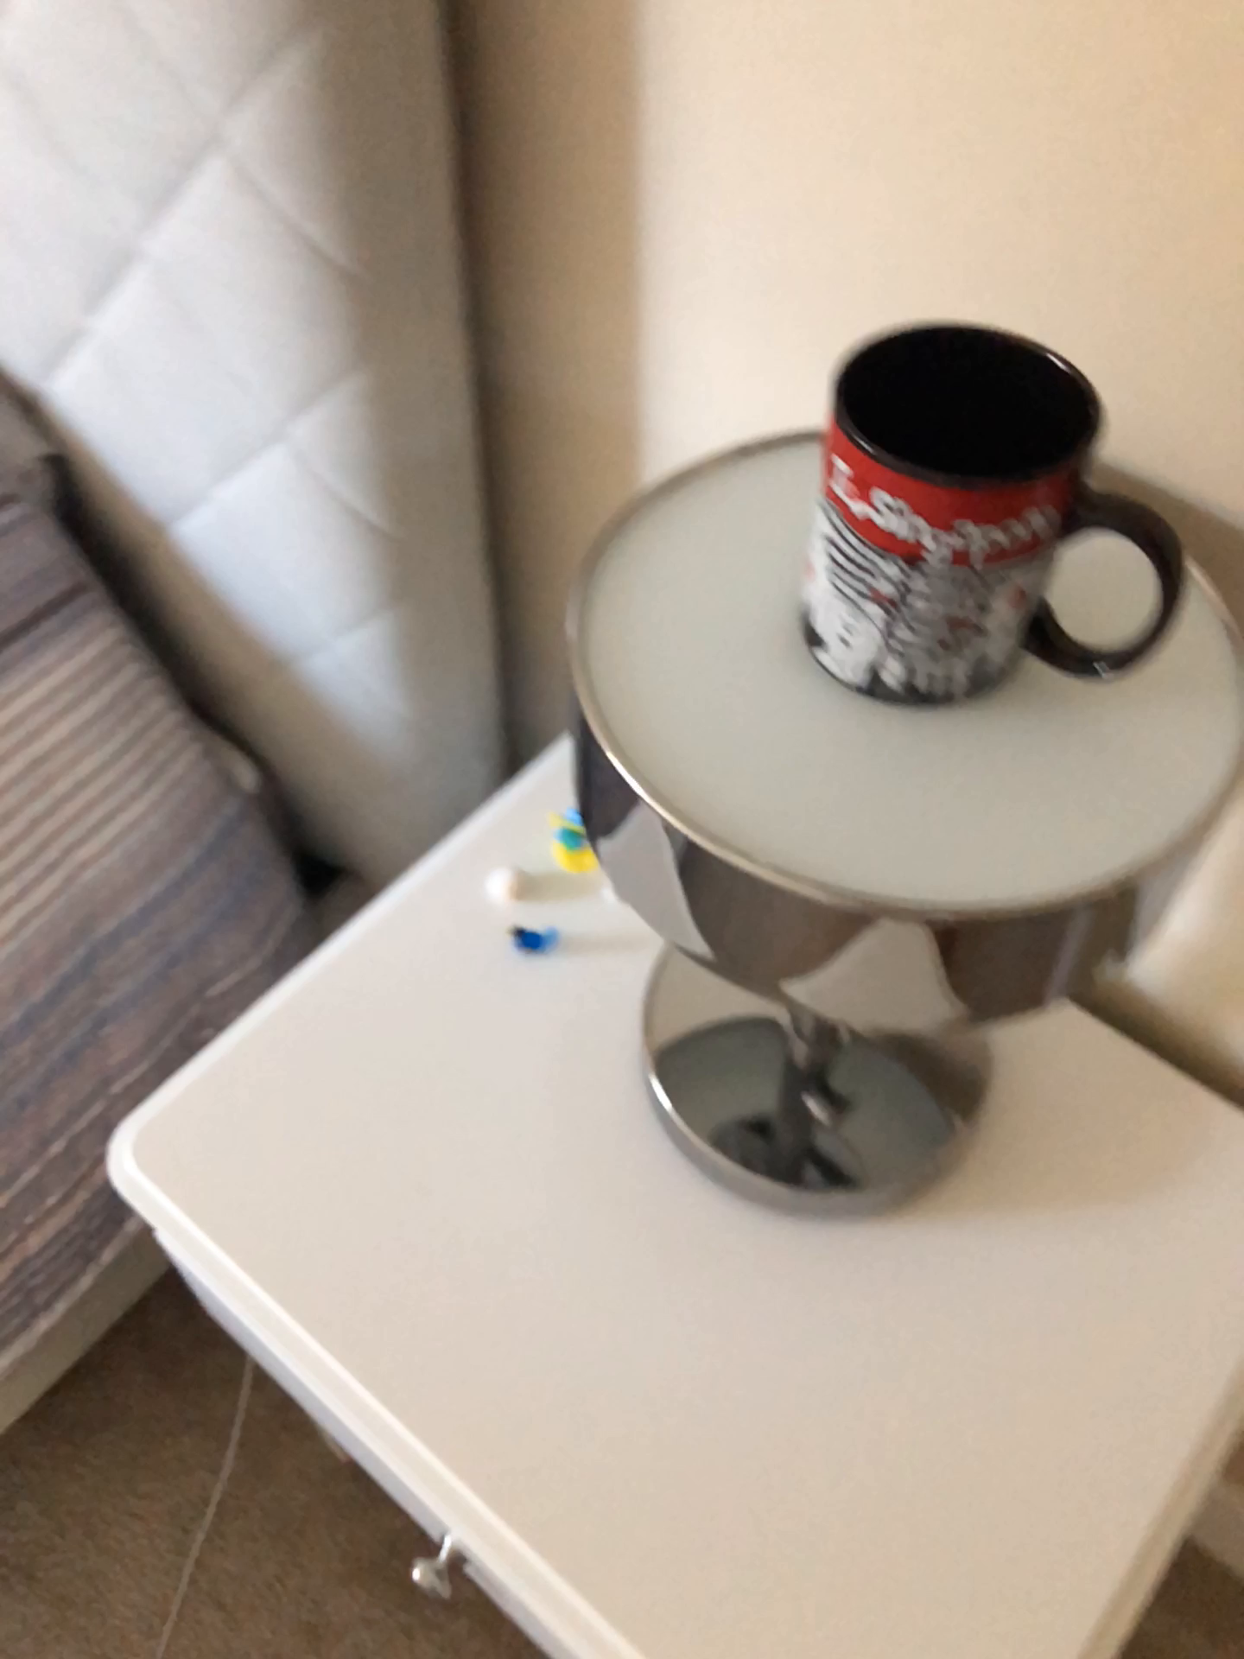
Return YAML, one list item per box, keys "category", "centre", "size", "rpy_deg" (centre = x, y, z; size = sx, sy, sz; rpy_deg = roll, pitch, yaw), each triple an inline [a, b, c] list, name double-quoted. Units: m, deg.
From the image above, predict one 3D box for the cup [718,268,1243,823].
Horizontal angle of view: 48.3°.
- category: "cup"
  centre: [0.111, -0.088, 0.429]
  size: [0.130, 0.100, 0.090]
  rpy_deg: [23, 56, 17]
